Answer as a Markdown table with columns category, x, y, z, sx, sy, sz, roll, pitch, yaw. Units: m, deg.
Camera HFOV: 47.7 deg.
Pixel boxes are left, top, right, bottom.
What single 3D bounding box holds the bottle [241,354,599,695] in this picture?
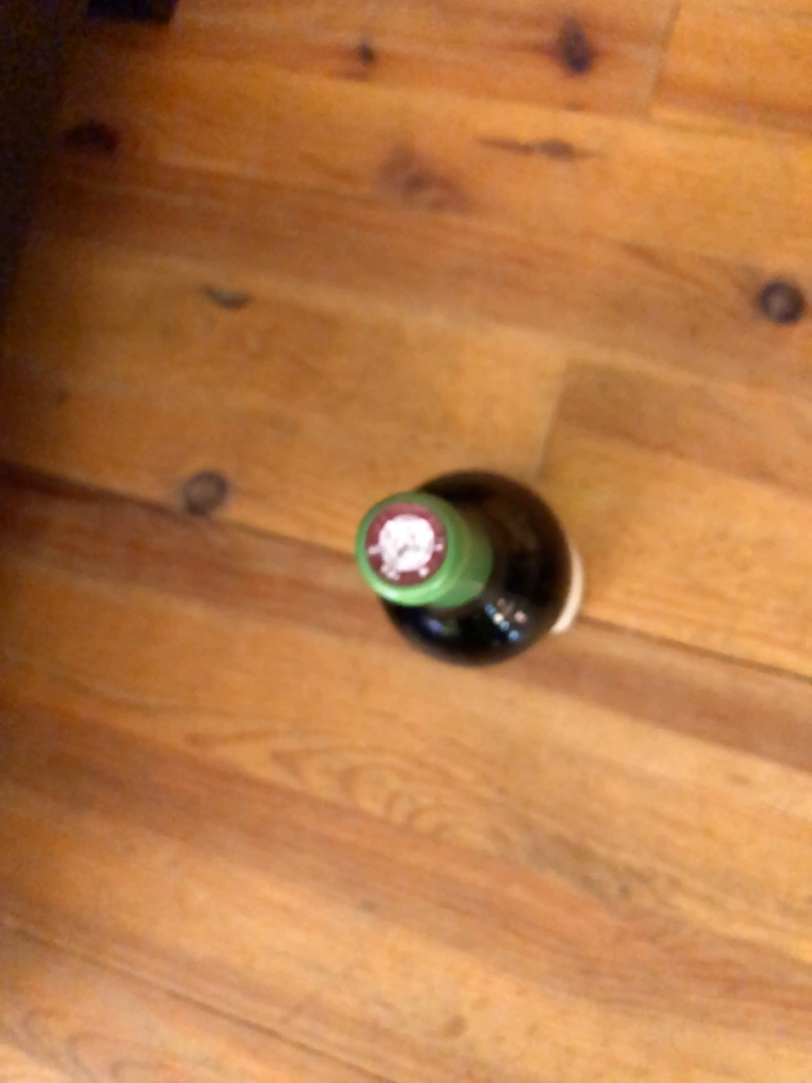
| category | x | y | z | sx | sy | sz | roll | pitch | yaw |
| --- | --- | --- | --- | --- | --- | --- | --- | --- | --- |
| bottle | 0.032 | 0.006 | 0.370 | 0.080 | 0.300 | 0.080 | -1 | 86 | 13 |
